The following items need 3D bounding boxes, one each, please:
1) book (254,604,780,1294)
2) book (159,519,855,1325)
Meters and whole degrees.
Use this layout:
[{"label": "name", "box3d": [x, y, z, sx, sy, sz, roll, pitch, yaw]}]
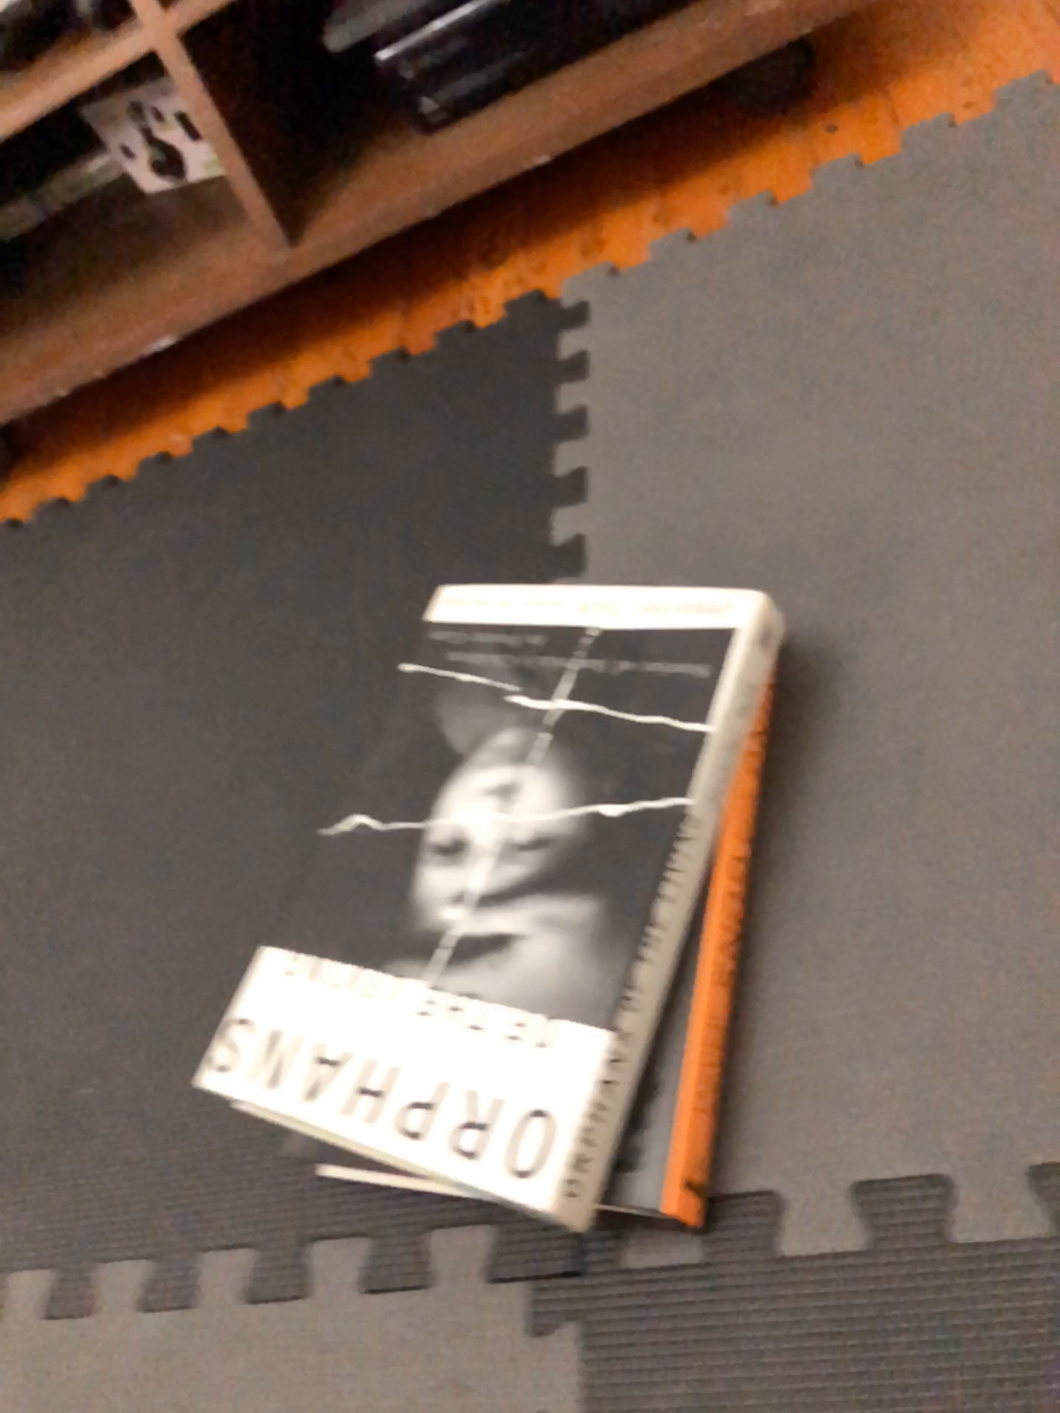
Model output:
[{"label": "book", "box3d": [0.003, 0.078, 0.459, 0.160, 0.030, 0.251, -7, 52, 29]}, {"label": "book", "box3d": [-0.003, 0.049, 0.443, 0.181, 0.030, 0.281, 3, 57, 35]}]
